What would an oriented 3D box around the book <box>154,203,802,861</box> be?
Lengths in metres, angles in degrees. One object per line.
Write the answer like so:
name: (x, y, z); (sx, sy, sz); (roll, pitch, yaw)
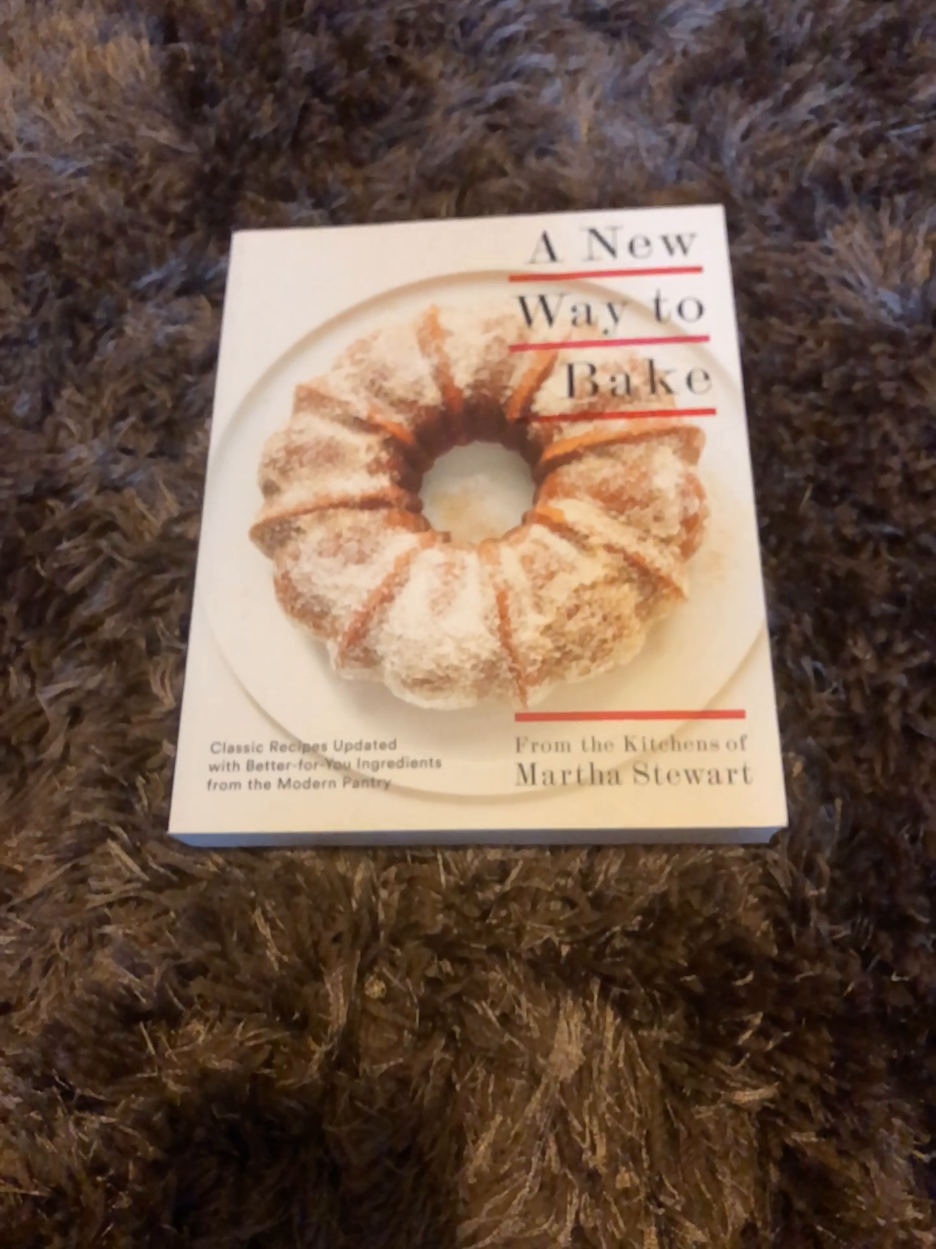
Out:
book: (0.002, -0.038, 0.370); (0.192, 0.040, 0.229); (-2, 69, 4)
